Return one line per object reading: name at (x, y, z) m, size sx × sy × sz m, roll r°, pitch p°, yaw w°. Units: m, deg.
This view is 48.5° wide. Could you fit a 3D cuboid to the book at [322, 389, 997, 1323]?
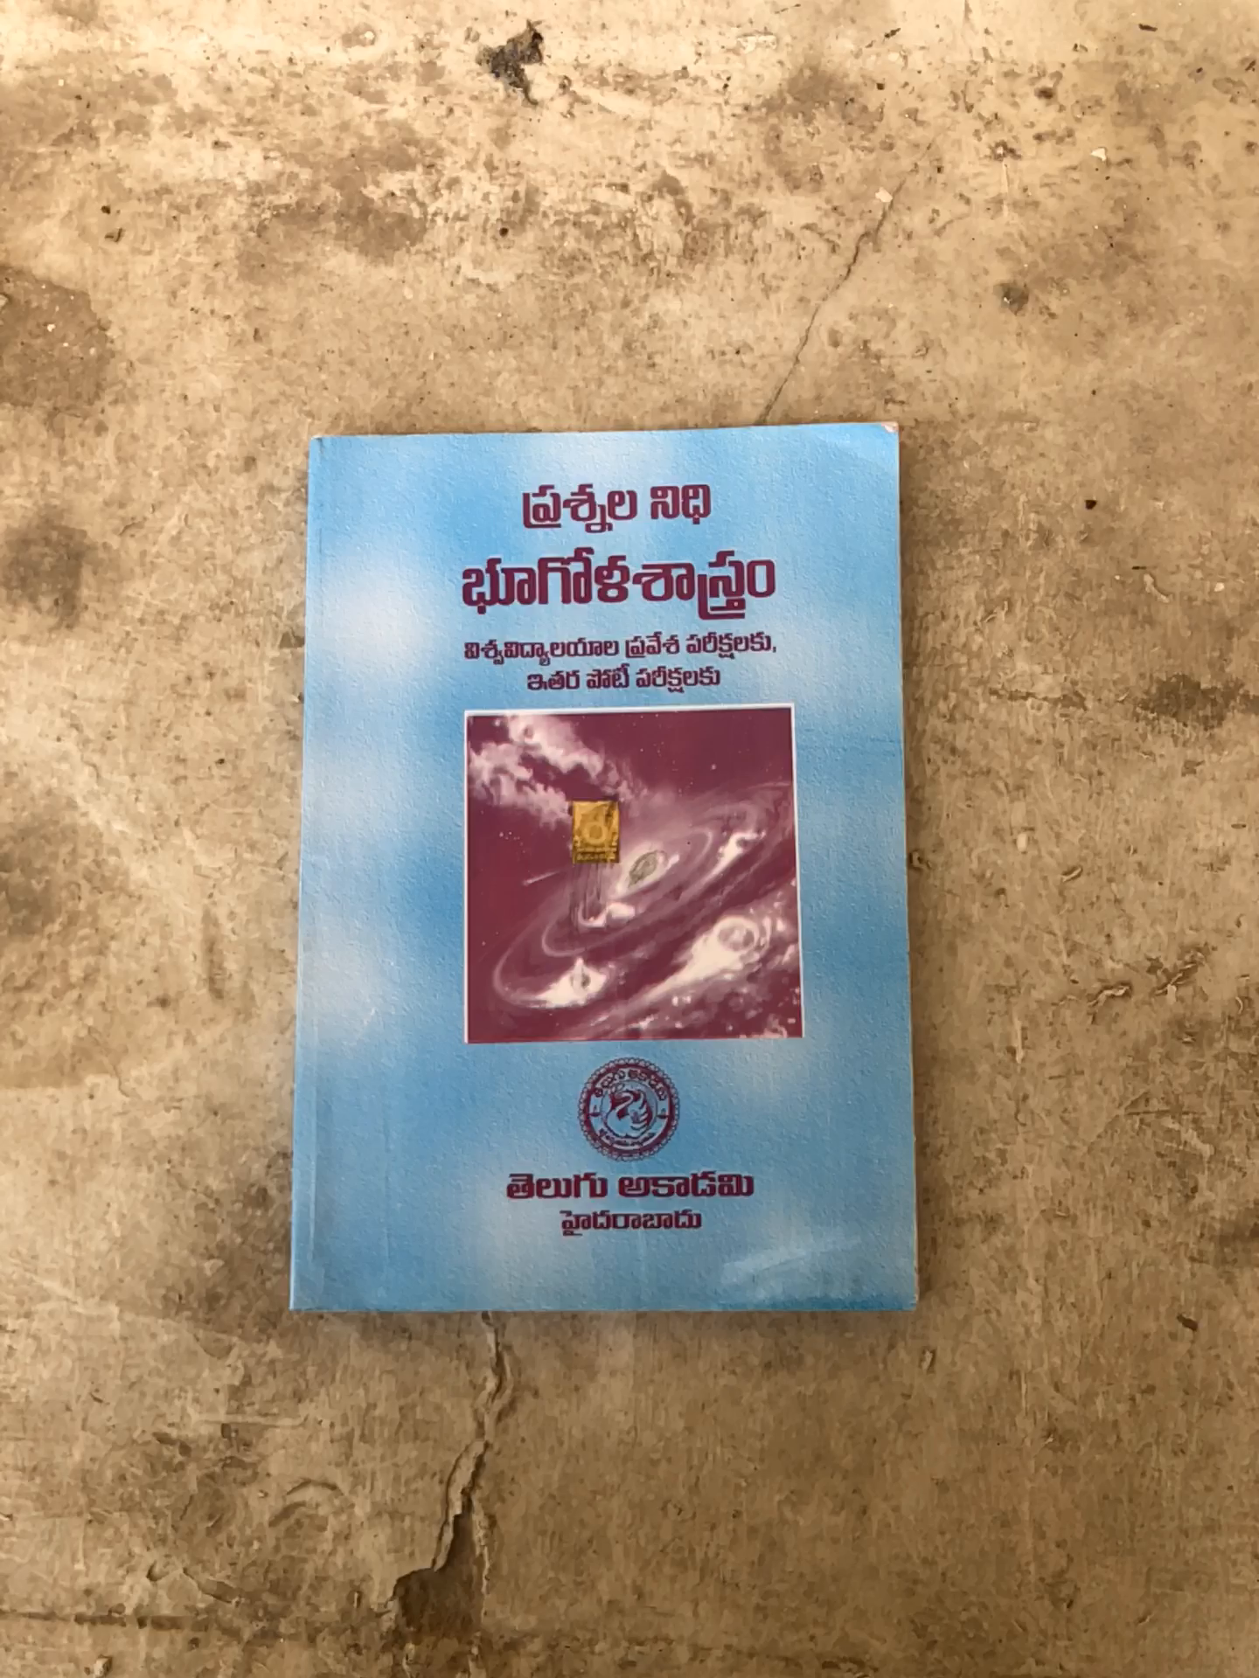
book at (0.006, 0.003, 0.428) m, size 0.190 × 0.040 × 0.270 m, roll -1°, pitch 84°, yaw 2°
